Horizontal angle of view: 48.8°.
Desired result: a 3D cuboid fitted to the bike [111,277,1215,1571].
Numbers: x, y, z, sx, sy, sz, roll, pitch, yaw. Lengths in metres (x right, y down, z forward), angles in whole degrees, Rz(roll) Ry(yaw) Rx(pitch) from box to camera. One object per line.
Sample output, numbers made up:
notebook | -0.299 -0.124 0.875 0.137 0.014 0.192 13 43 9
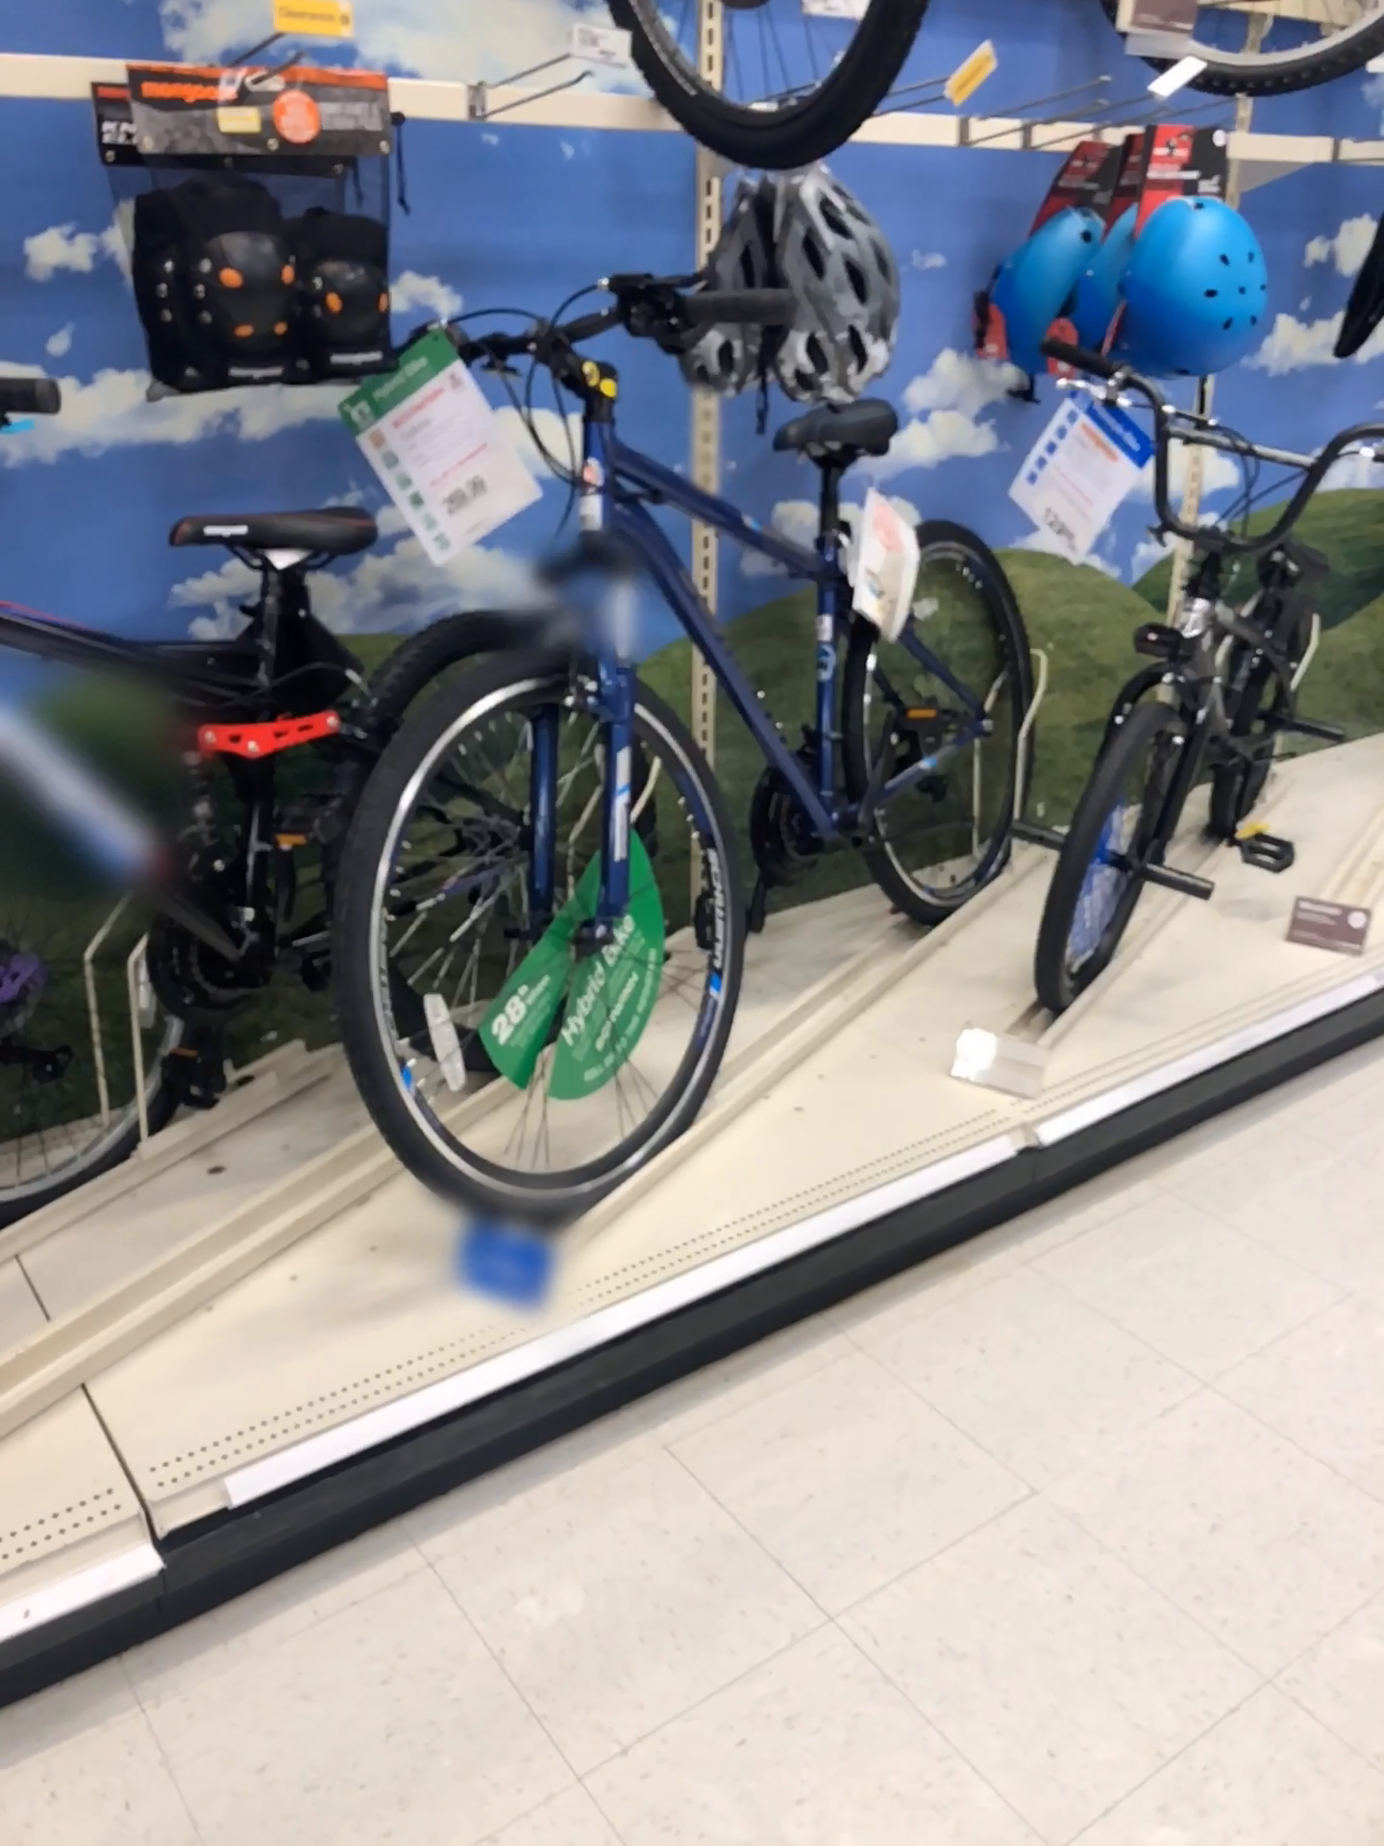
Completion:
bike | 0.150 -0.245 2.131 0.530 1.098 1.743 14 30 30
